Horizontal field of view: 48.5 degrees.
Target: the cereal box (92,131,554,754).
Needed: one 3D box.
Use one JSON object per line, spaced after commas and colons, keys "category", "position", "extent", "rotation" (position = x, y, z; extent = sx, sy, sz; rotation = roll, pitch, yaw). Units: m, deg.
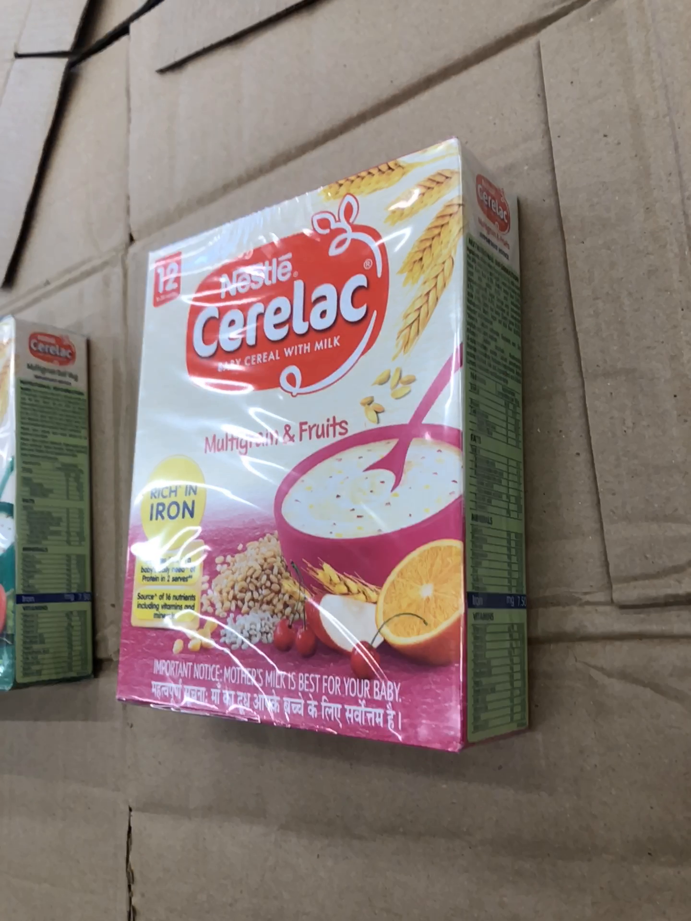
{"category": "cereal box", "position": [-0.016, 0.001, 0.273], "extent": [0.160, 0.050, 0.170], "rotation": [-7, 78, 37]}
